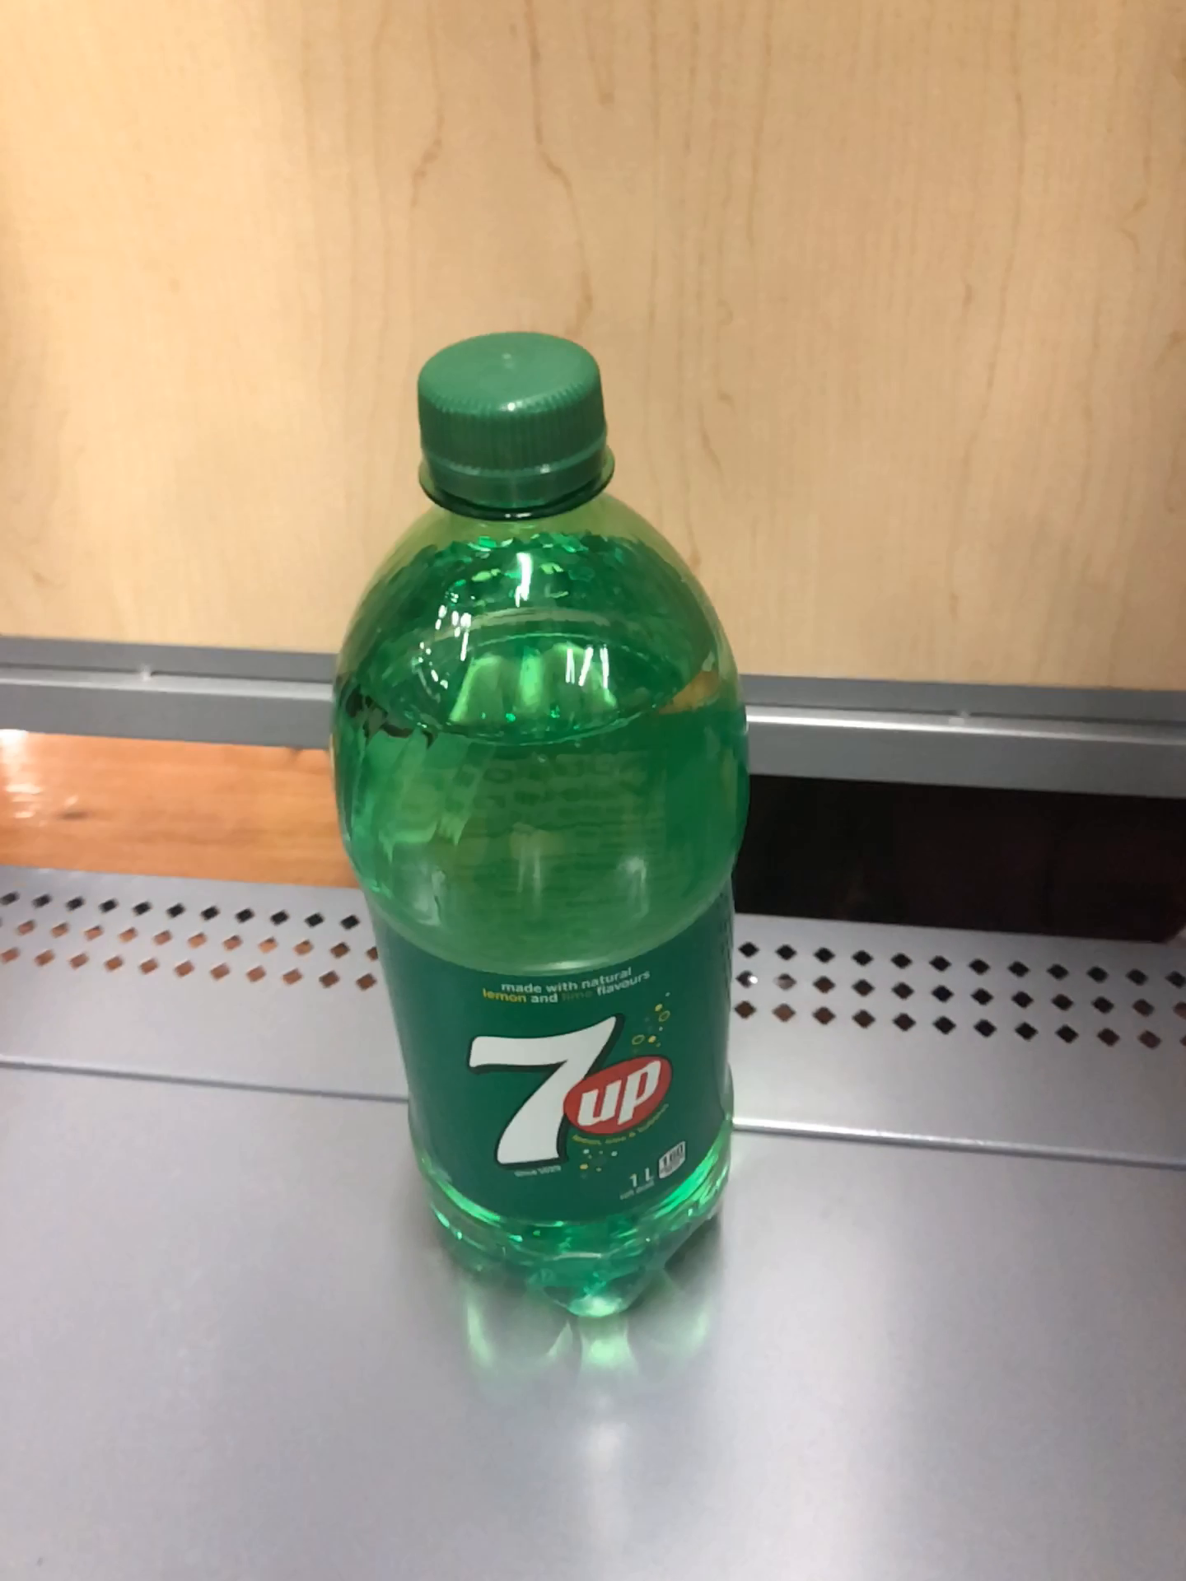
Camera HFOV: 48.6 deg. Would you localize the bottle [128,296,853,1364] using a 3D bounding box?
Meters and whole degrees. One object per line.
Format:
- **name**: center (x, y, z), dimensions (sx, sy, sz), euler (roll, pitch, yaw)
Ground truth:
- **bottle**: center (-0.013, 0.028, 0.290), dimensions (0.100, 0.238, 0.081), euler (-6, 42, -3)
